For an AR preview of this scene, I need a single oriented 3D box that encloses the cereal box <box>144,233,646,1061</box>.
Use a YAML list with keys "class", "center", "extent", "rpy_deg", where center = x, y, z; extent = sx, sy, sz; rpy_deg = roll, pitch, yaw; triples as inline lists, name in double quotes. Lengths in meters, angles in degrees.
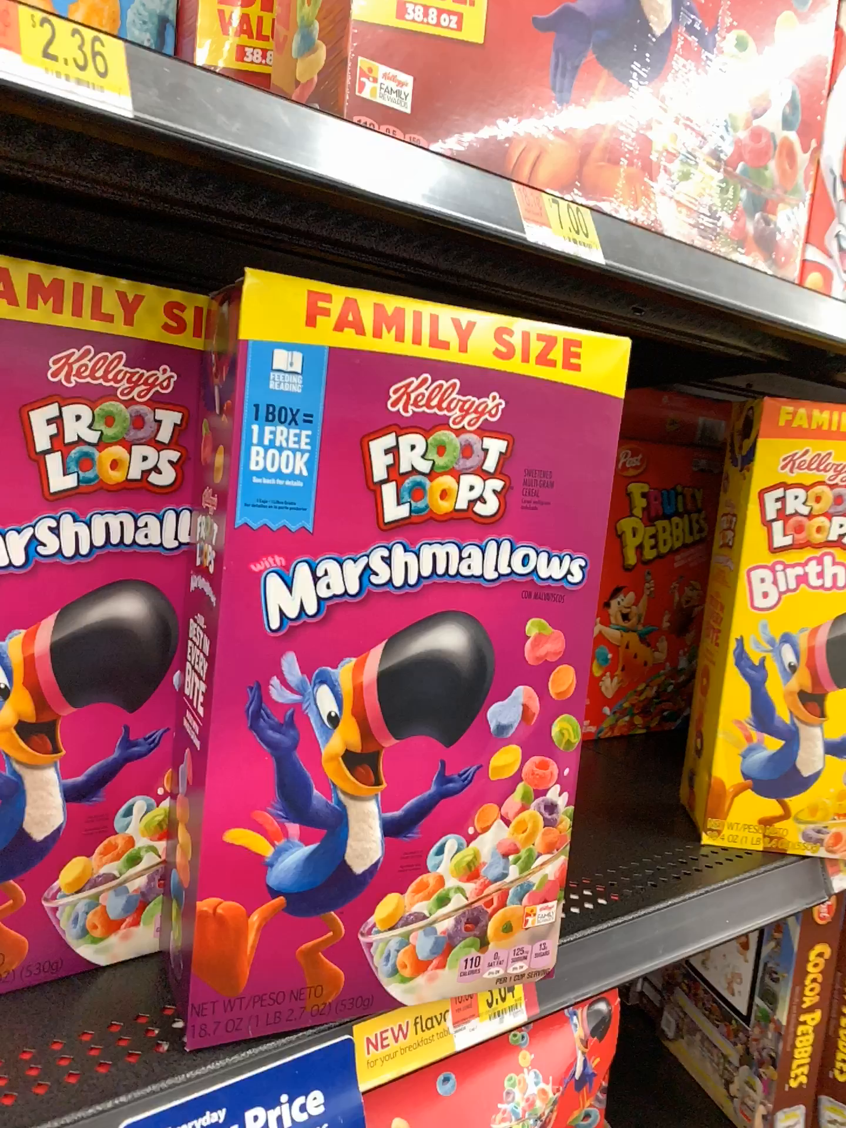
- class: "cereal box"
  center: [-0.017, 0.040, 0.427]
  extent: [0.200, 0.339, 0.080]
  rpy_deg: [3, 7, -25]
